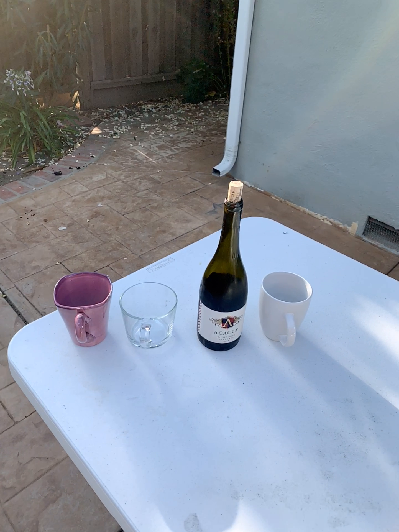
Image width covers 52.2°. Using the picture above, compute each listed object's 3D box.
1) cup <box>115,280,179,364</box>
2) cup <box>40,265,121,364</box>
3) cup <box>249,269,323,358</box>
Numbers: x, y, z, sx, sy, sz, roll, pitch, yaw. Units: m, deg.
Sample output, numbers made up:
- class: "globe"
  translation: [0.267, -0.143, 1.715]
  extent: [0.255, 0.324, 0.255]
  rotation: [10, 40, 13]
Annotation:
- class: "cup"
  translation: [-0.090, 0.098, 0.731]
  extent: [0.100, 0.080, 0.131]
  rotation: [2, 36, -3]
- class: "cup"
  translation: [-0.200, 0.083, 0.712]
  extent: [0.100, 0.109, 0.131]
  rotation: [2, 35, -3]
- class: "cup"
  translation: [0.147, 0.082, 0.724]
  extent: [0.090, 0.099, 0.121]
  rotation: [2, 35, -3]
